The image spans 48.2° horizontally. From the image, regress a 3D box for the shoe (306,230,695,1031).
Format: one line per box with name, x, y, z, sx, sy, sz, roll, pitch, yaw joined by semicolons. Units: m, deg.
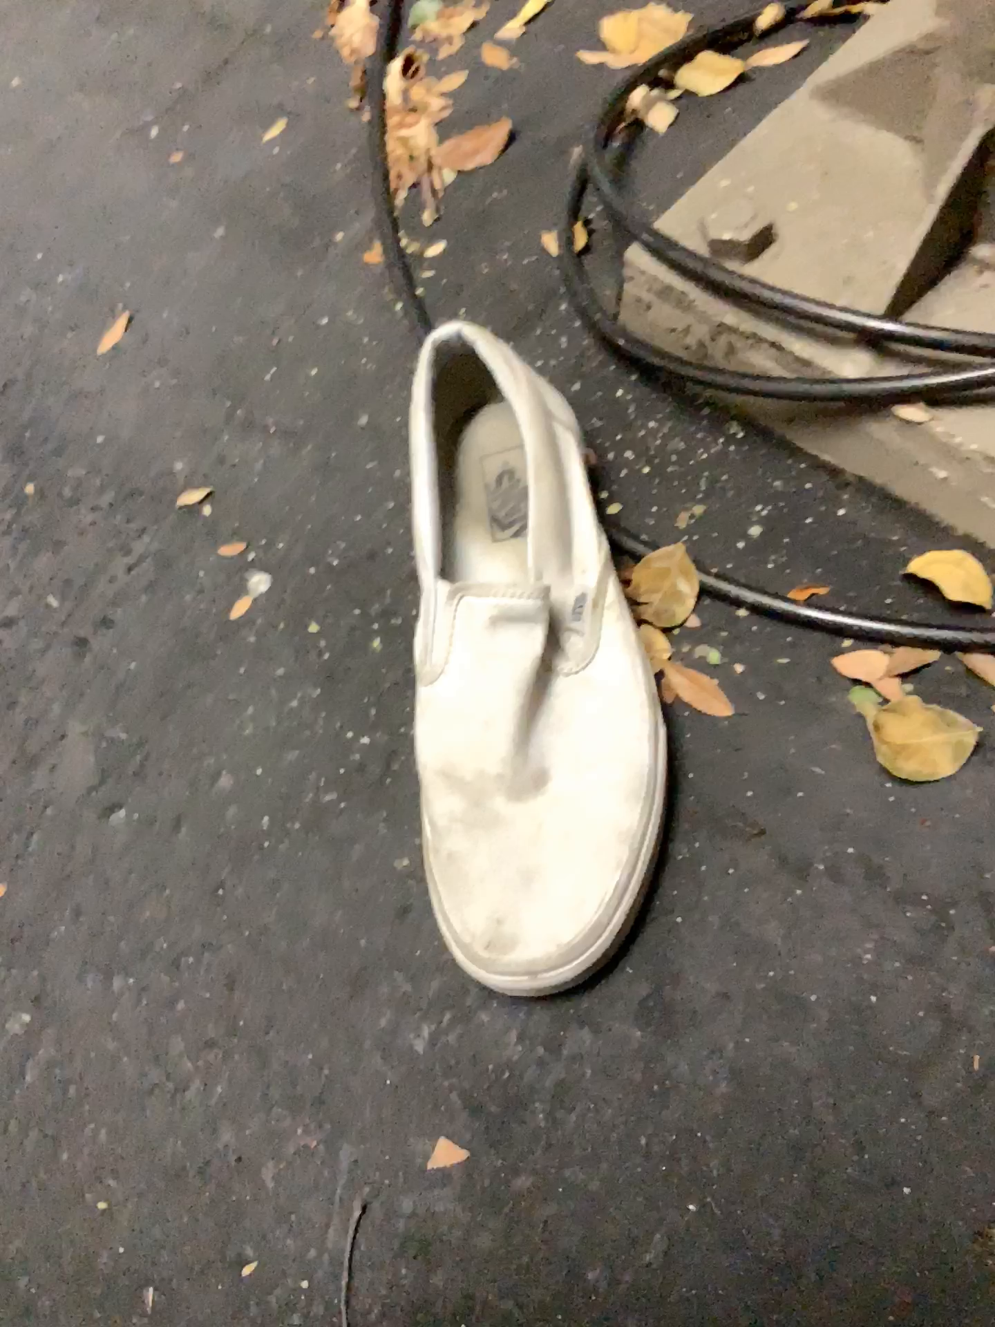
shoe;0.012;-0.019;0.457;0.120;0.100;0.310;-3;64;10
